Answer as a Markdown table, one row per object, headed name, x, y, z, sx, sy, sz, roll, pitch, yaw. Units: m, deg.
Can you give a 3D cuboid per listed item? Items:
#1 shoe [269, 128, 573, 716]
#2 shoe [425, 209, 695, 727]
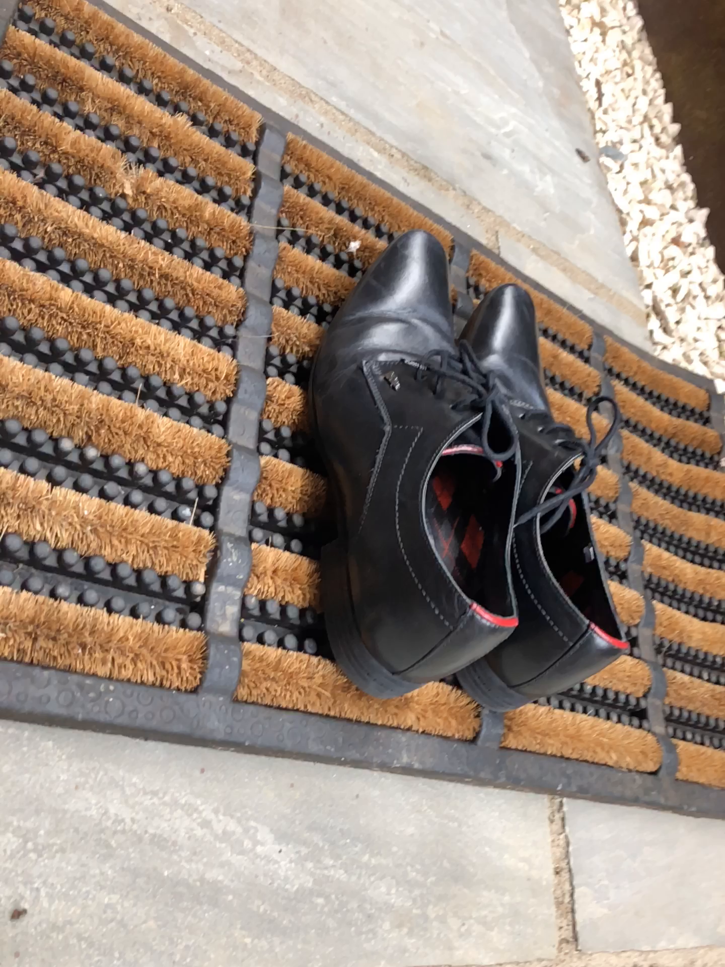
| name | x | y | z | sx | sy | sz | roll | pitch | yaw |
| --- | --- | --- | --- | --- | --- | --- | --- | --- | --- |
| shoe | 0.030 | -0.039 | 0.447 | 0.100 | 0.099 | 0.301 | 23 | 54 | -32 |
| shoe | 0.112 | -0.014 | 0.509 | 0.100 | 0.099 | 0.301 | 23 | 54 | -32 |
